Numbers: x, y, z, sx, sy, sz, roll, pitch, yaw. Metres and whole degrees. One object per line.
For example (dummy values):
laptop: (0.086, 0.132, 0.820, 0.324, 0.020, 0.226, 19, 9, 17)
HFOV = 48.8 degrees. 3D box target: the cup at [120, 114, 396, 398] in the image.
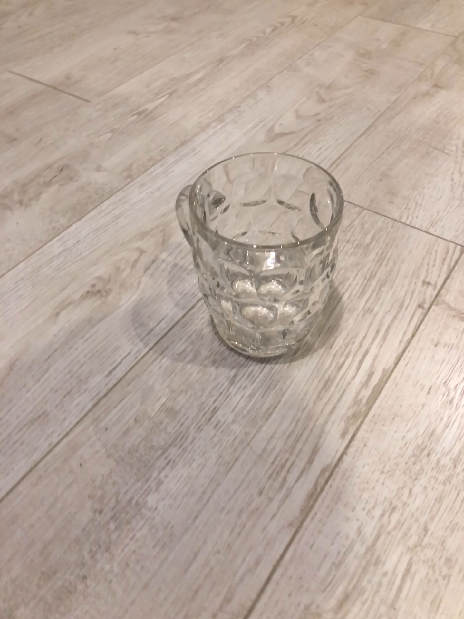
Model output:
cup: (0.013, -0.042, 0.355, 0.100, 0.109, 0.140, -35, 57, -26)
